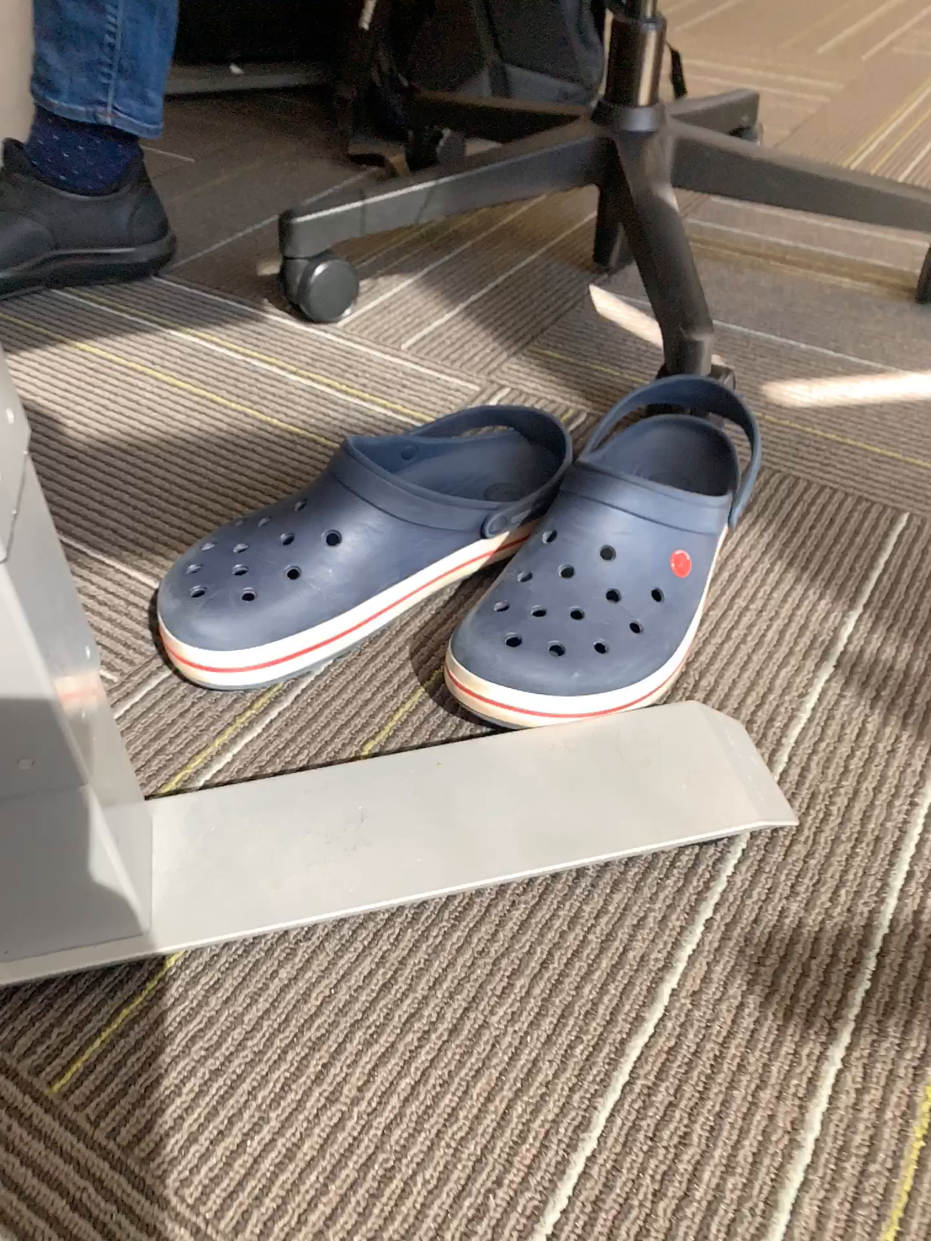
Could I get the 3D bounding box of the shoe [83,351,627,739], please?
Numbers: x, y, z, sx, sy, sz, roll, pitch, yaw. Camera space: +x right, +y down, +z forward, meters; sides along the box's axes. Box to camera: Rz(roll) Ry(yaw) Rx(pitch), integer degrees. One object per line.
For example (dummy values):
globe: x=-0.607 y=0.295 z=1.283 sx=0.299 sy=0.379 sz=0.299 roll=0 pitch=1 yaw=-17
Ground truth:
shoe: x=-0.060 y=-0.065 z=0.628 sx=0.321 sy=0.080 sz=0.131 roll=-28 pitch=51 yaw=-26

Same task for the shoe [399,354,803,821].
shoe: x=0.100 y=-0.045 z=0.611 sx=0.130 sy=0.080 sz=0.331 roll=20 pitch=48 yaw=20
